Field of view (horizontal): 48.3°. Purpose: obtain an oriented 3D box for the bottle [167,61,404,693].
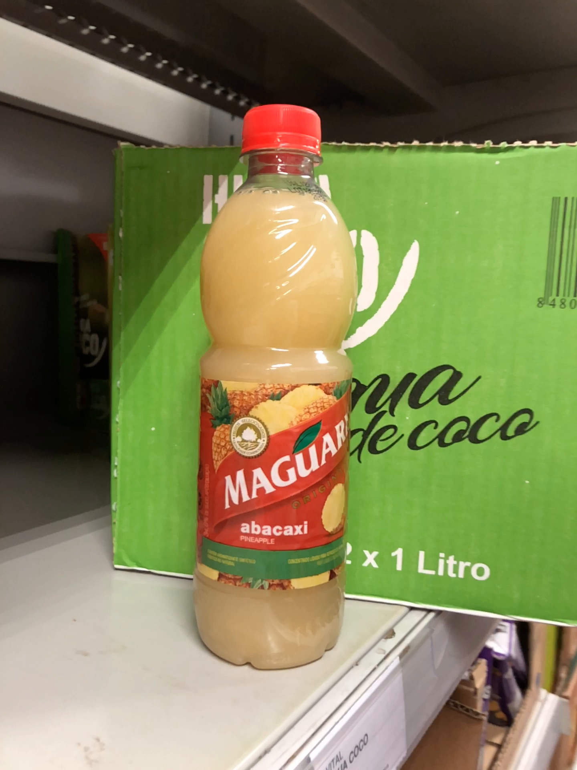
[{"bbox_3d":[-0.007,-0.001,0.250,0.070,0.209,0.060,1,8,-15],"label":"bottle"}]
